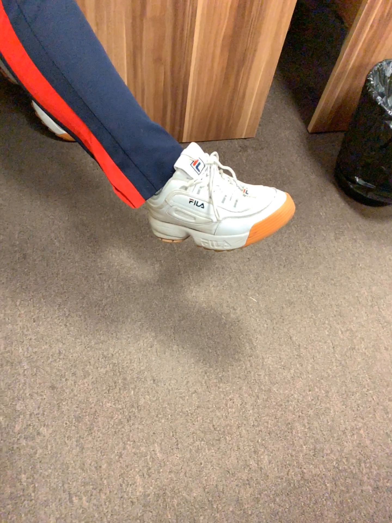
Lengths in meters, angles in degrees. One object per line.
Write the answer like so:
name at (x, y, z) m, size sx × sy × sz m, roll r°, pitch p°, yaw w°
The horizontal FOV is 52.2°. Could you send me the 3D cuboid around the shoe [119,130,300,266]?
shoe at (0.028, -0.106, 0.619) m, size 0.230 × 0.130 × 0.130 m, roll 13°, pitch 47°, yaw 26°
